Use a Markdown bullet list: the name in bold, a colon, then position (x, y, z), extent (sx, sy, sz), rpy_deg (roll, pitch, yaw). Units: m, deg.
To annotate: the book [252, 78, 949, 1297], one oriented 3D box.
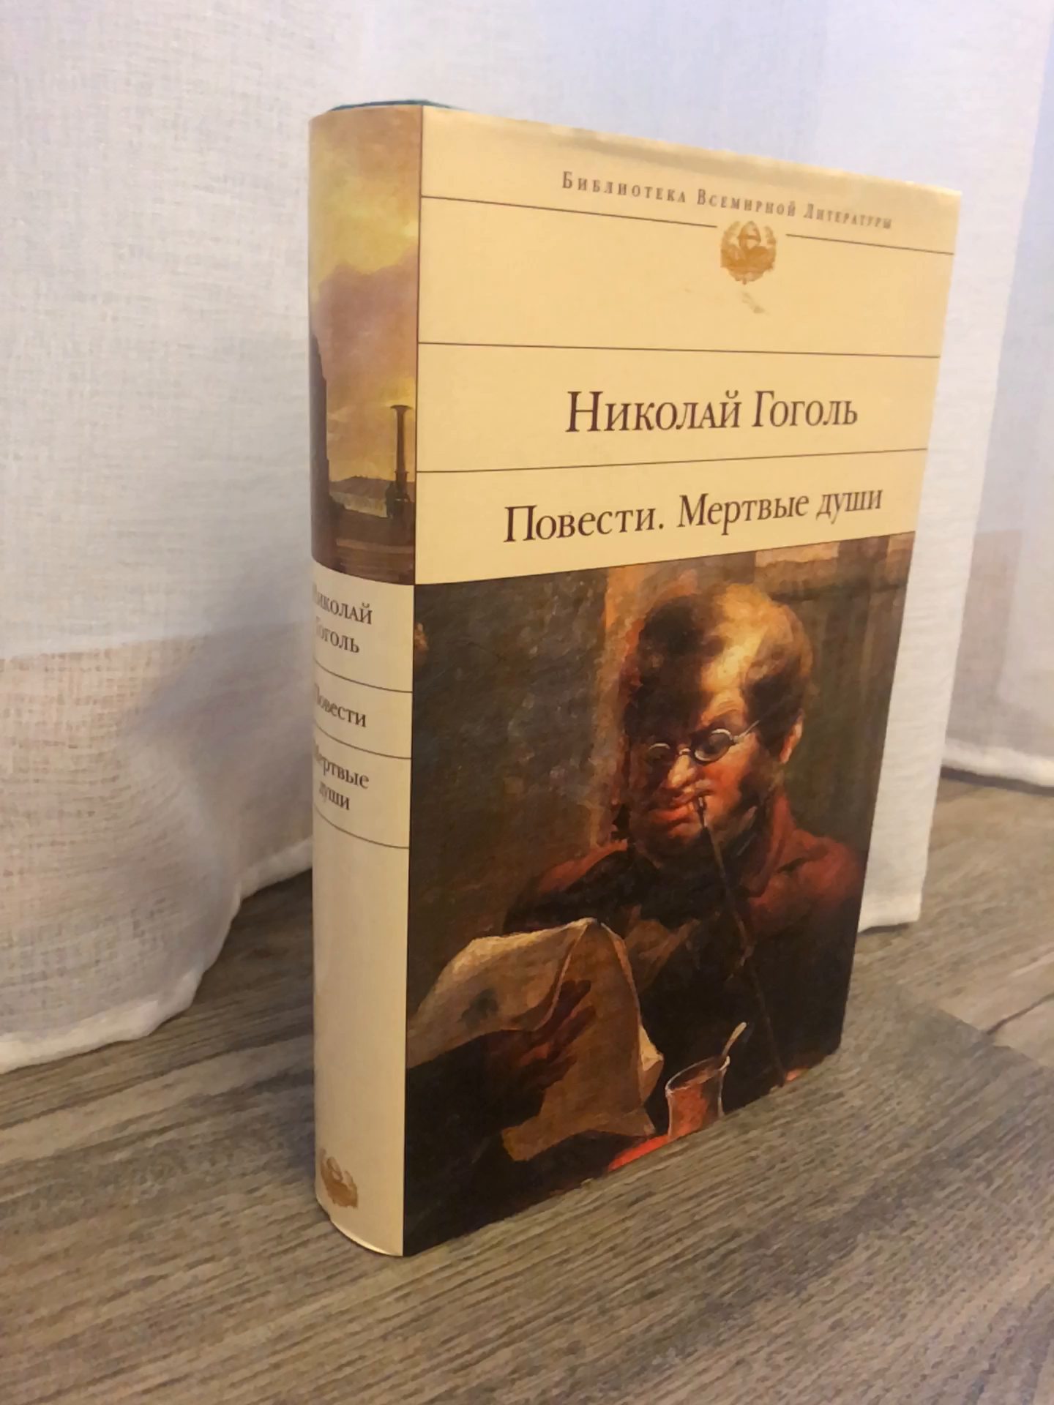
- **book**: position (0.016, -0.002, 0.248), extent (0.134, 0.210, 0.041), rpy_deg (-10, 22, -36)
